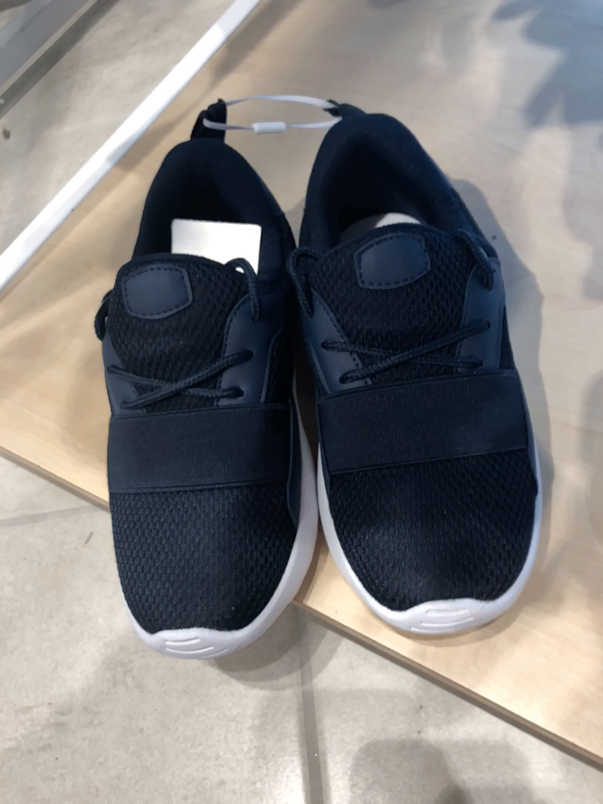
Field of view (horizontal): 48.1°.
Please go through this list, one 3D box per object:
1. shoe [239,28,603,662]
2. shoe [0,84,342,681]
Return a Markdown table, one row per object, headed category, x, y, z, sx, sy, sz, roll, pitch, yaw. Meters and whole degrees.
| category | x | y | z | sx | sy | sz | roll | pitch | yaw |
| --- | --- | --- | --- | --- | --- | --- | --- | --- | --- |
| shoe | 0.039 | -0.032 | 0.284 | 0.100 | 0.100 | 0.241 | -10 | 57 | 6 |
| shoe | -0.033 | -0.015 | 0.296 | 0.090 | 0.100 | 0.241 | -4 | 58 | 10 |
